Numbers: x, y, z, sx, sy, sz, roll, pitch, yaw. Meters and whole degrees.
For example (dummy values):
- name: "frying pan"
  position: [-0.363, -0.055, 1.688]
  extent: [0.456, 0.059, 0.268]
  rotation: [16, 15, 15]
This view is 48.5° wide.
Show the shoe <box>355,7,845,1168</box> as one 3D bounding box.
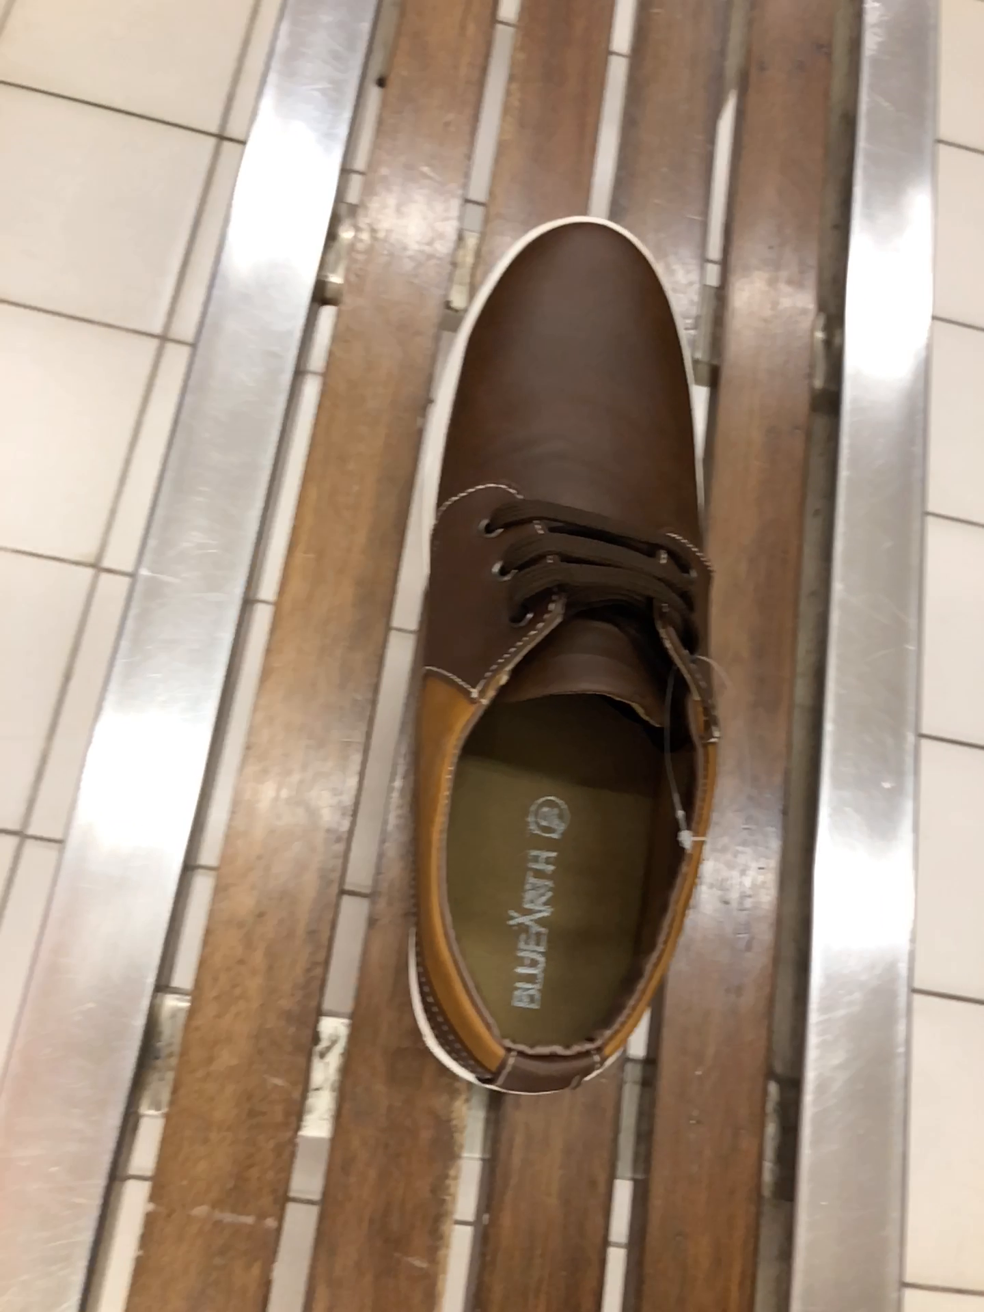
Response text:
- name: "shoe"
  position: [0.032, -0.023, 0.343]
  extent: [0.109, 0.114, 0.312]
  rotation: [7, 73, -7]
